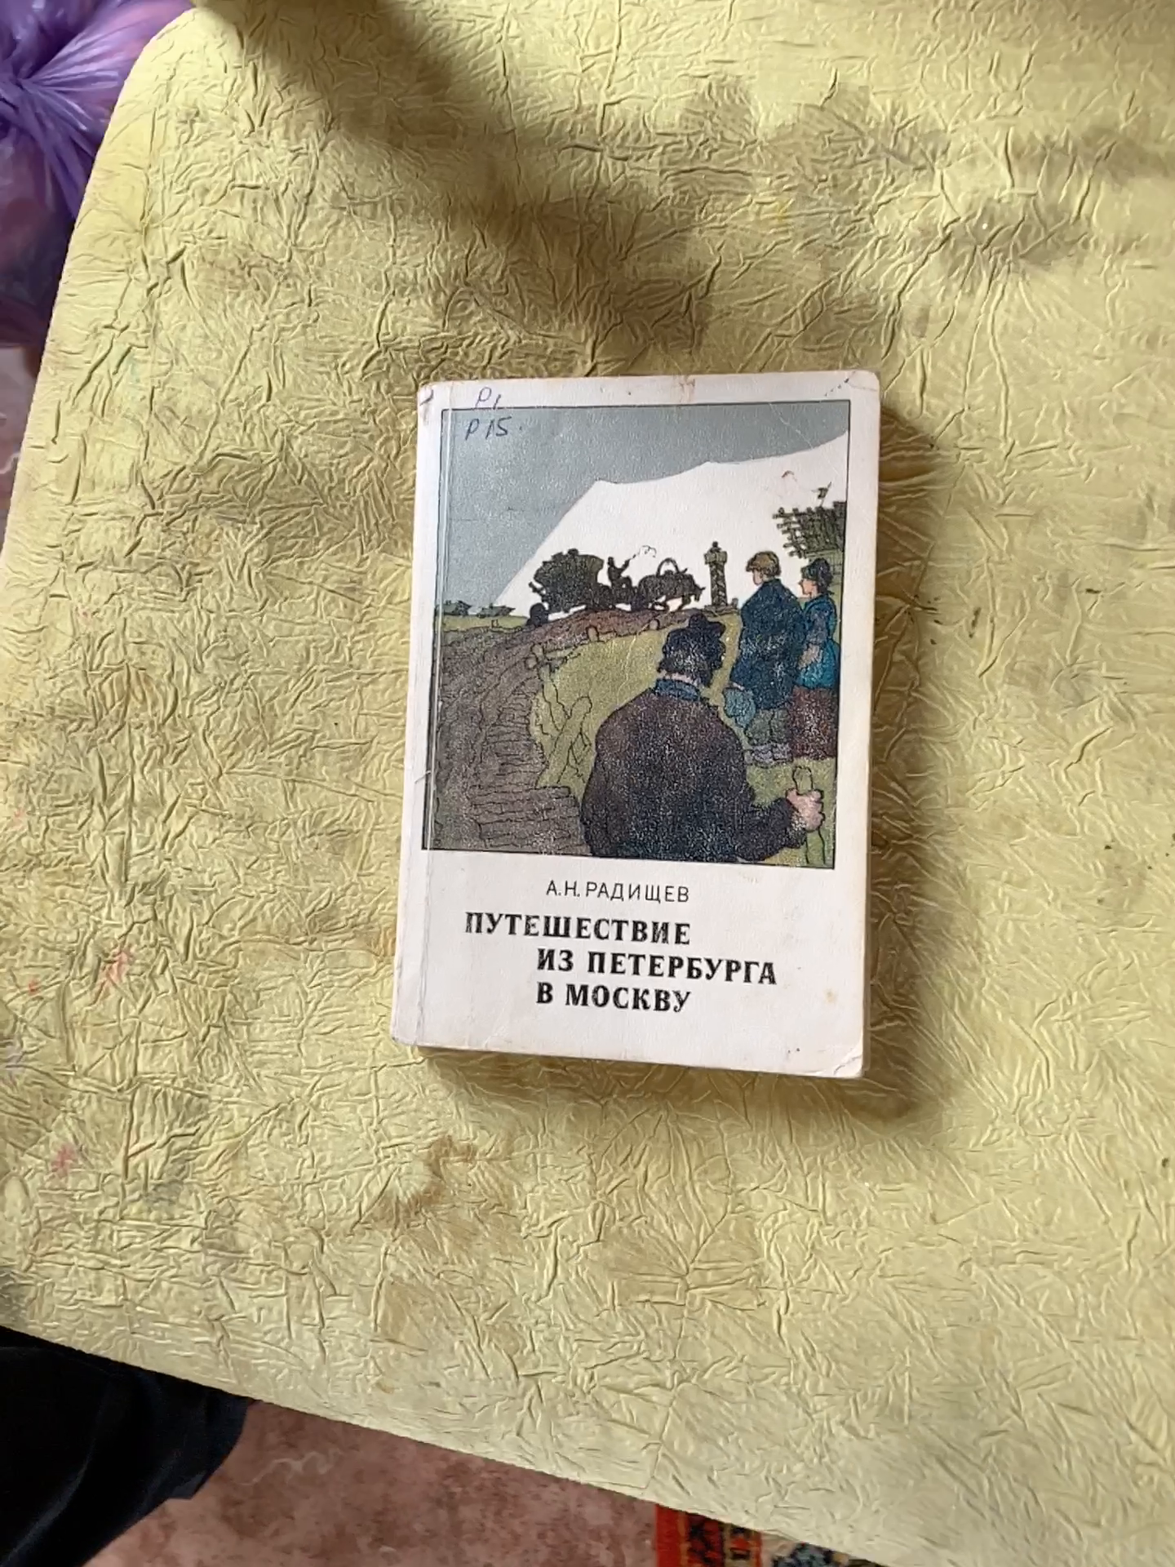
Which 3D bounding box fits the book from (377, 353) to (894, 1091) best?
[{"bbox_3d":[0.011,-0.016,0.284,0.111,0.020,0.161,2,87,10],"label":"book"}]
